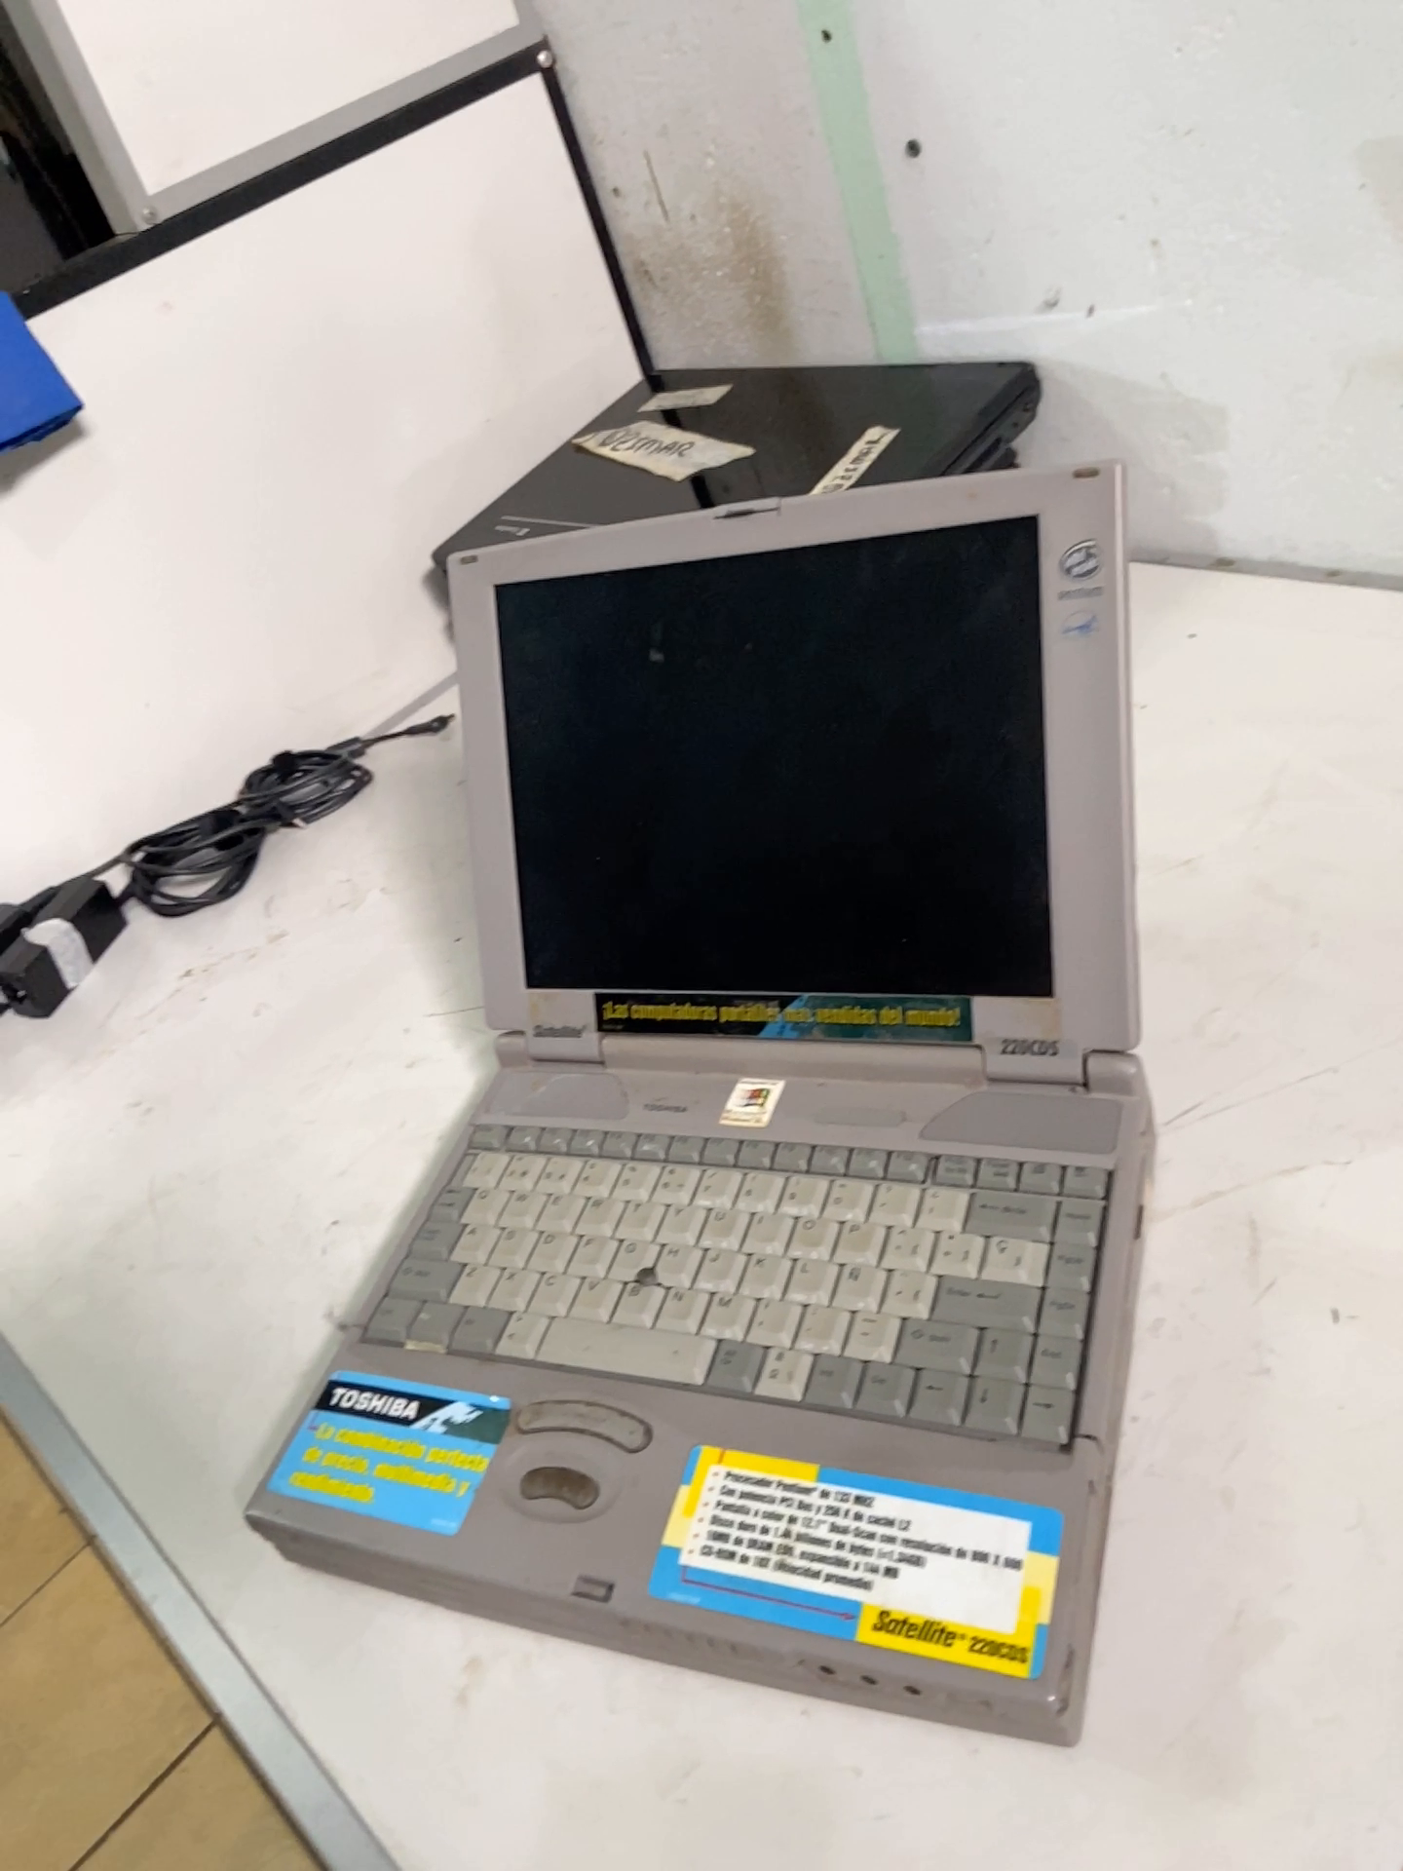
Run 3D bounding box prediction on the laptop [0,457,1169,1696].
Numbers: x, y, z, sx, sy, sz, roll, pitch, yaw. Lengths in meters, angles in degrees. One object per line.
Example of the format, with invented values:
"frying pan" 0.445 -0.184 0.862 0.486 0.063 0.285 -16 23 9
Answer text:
"laptop" -0.012 0.020 0.535 0.301 0.195 0.359 -1 42 26
